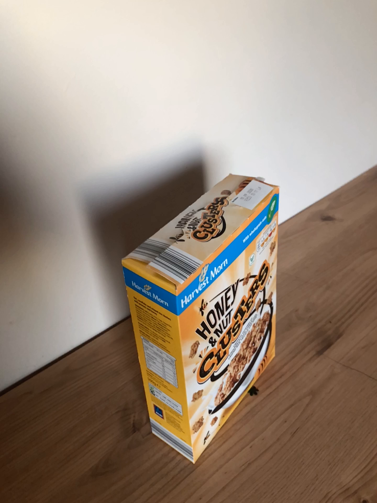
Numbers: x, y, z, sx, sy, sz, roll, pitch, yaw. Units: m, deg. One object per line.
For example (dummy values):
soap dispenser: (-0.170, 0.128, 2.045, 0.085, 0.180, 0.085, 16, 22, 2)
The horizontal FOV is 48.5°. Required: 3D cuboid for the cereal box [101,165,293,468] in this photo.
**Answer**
cereal box: (0.025, 0.068, 0.442, 0.070, 0.248, 0.191, 22, 44, 31)
